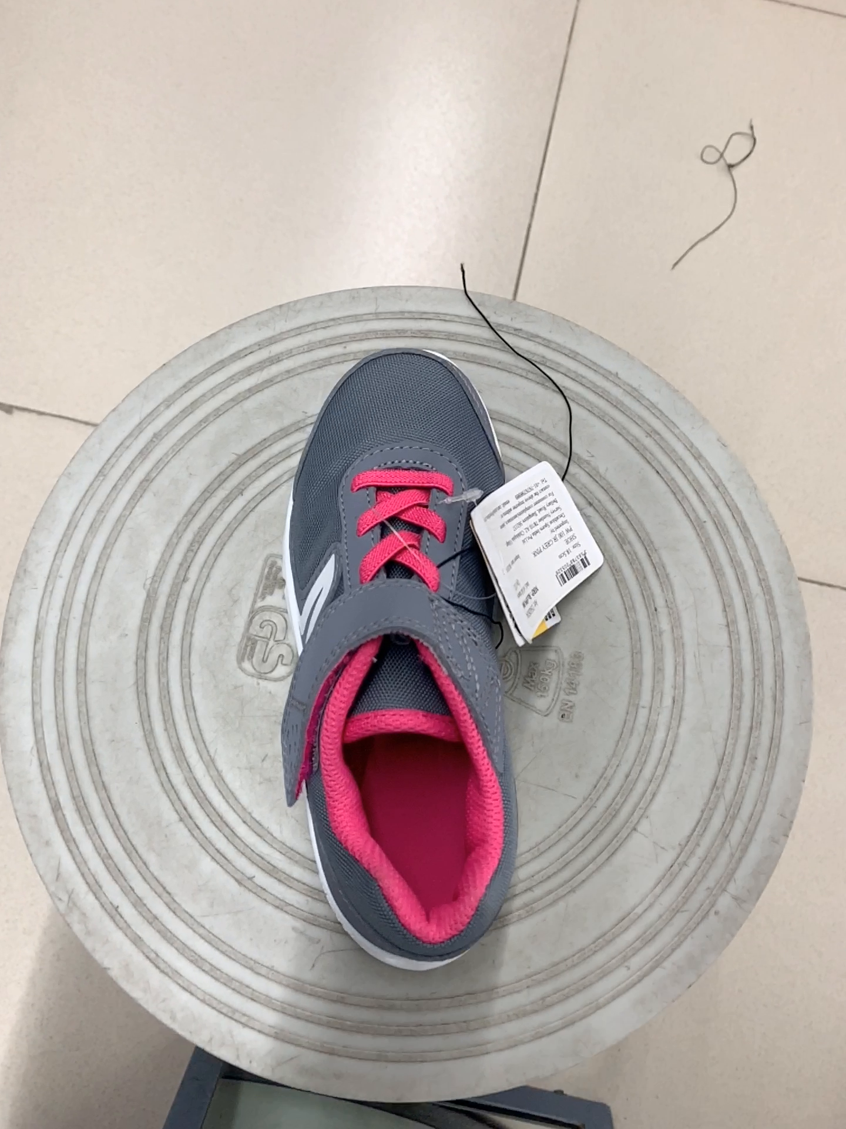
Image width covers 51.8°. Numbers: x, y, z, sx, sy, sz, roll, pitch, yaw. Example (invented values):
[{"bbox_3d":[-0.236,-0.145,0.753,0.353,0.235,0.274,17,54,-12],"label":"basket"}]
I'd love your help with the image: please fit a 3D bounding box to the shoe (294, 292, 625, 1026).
[{"bbox_3d":[0.003,0.024,0.247,0.070,0.090,0.170,-1,76,-3],"label":"shoe"}]
